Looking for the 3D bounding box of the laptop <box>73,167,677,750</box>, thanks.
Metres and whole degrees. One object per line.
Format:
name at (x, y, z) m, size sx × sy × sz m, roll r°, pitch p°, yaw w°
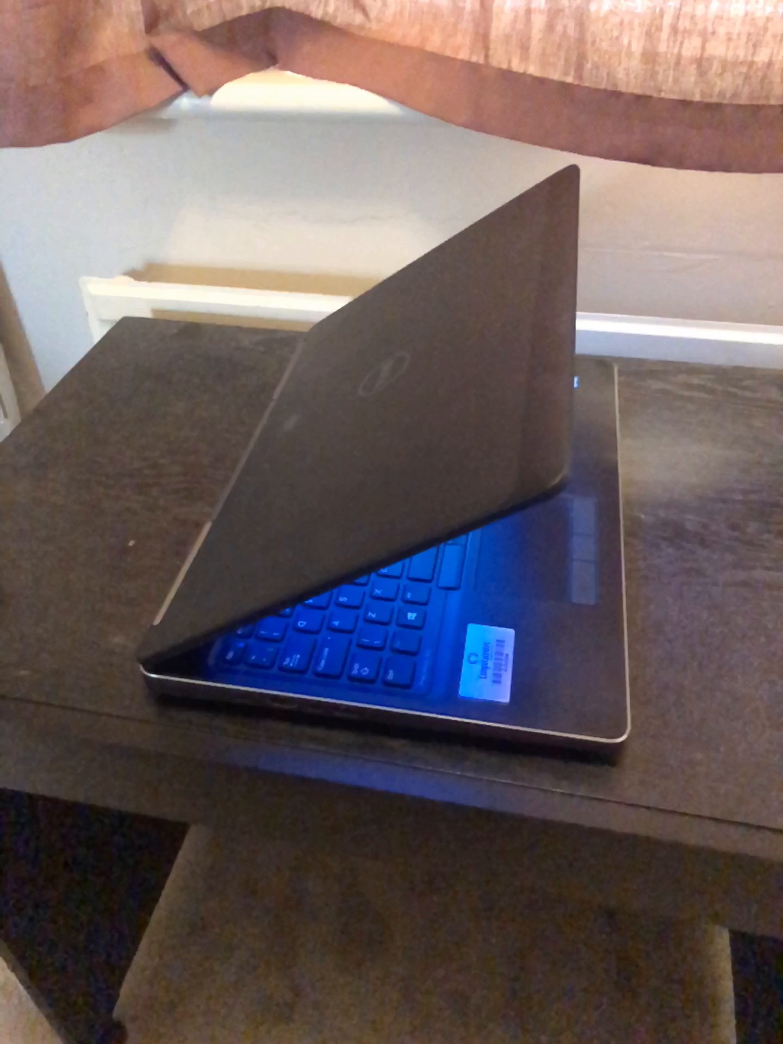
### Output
laptop at (0.019, -0.078, 0.517) m, size 0.243 × 0.134 × 0.364 m, roll 6°, pitch 40°, yaw 10°
